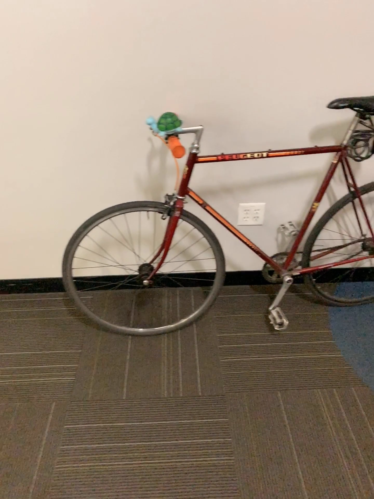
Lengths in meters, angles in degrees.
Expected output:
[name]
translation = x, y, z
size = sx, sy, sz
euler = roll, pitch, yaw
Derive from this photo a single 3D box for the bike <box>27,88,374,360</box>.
[bike]
translation = 0.321, -0.111, 1.592
size = 1.625, 0.909, 0.451
euler = -5, 37, -8
